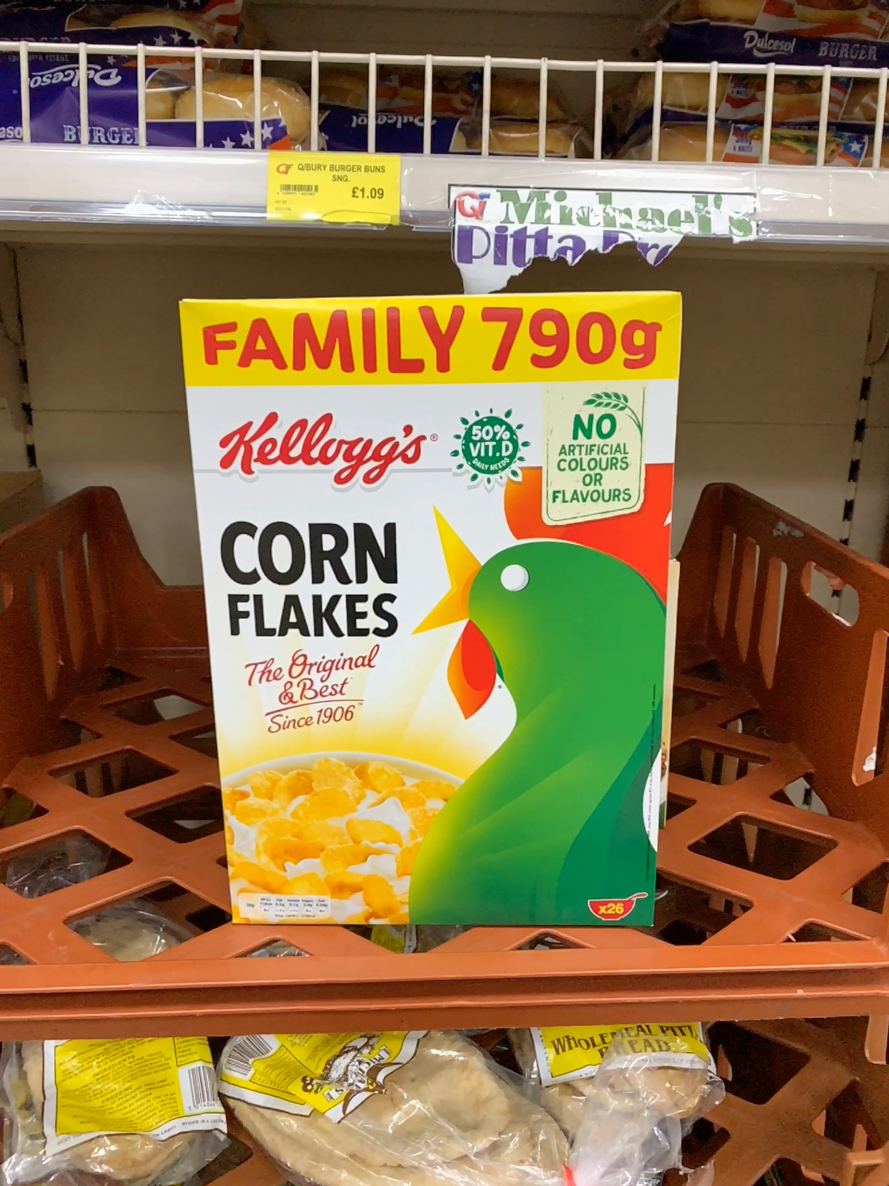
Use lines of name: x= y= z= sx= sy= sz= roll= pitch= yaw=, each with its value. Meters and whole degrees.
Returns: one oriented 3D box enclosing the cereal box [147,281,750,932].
cereal box: x=0.002 y=0.010 z=0.499 sx=0.270 sy=0.338 sz=0.091 roll=0 pitch=16 yaw=0
